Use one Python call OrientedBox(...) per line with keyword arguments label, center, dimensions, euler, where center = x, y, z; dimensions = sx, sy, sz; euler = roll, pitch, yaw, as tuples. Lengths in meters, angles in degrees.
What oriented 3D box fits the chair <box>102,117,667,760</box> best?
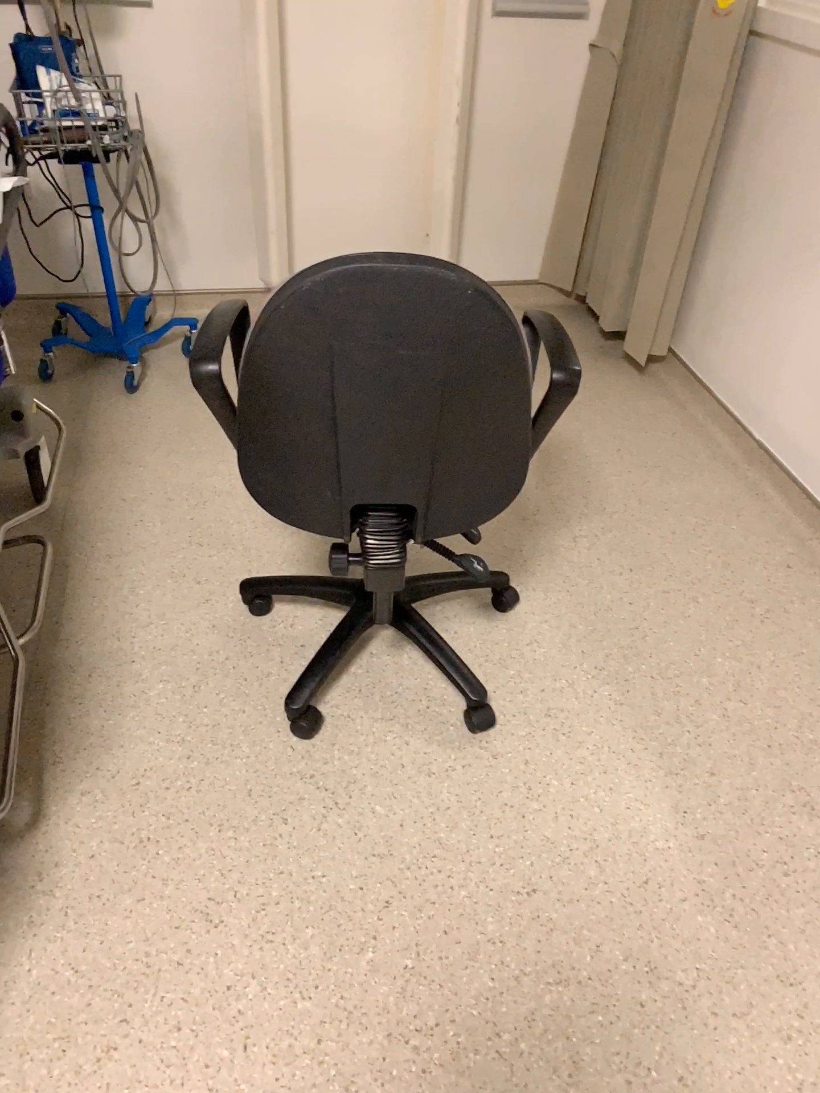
OrientedBox(label="chair", center=(-0.045, -0.196, 1.511), dimensions=(0.650, 0.881, 0.717), euler=(3, 38, -1))
